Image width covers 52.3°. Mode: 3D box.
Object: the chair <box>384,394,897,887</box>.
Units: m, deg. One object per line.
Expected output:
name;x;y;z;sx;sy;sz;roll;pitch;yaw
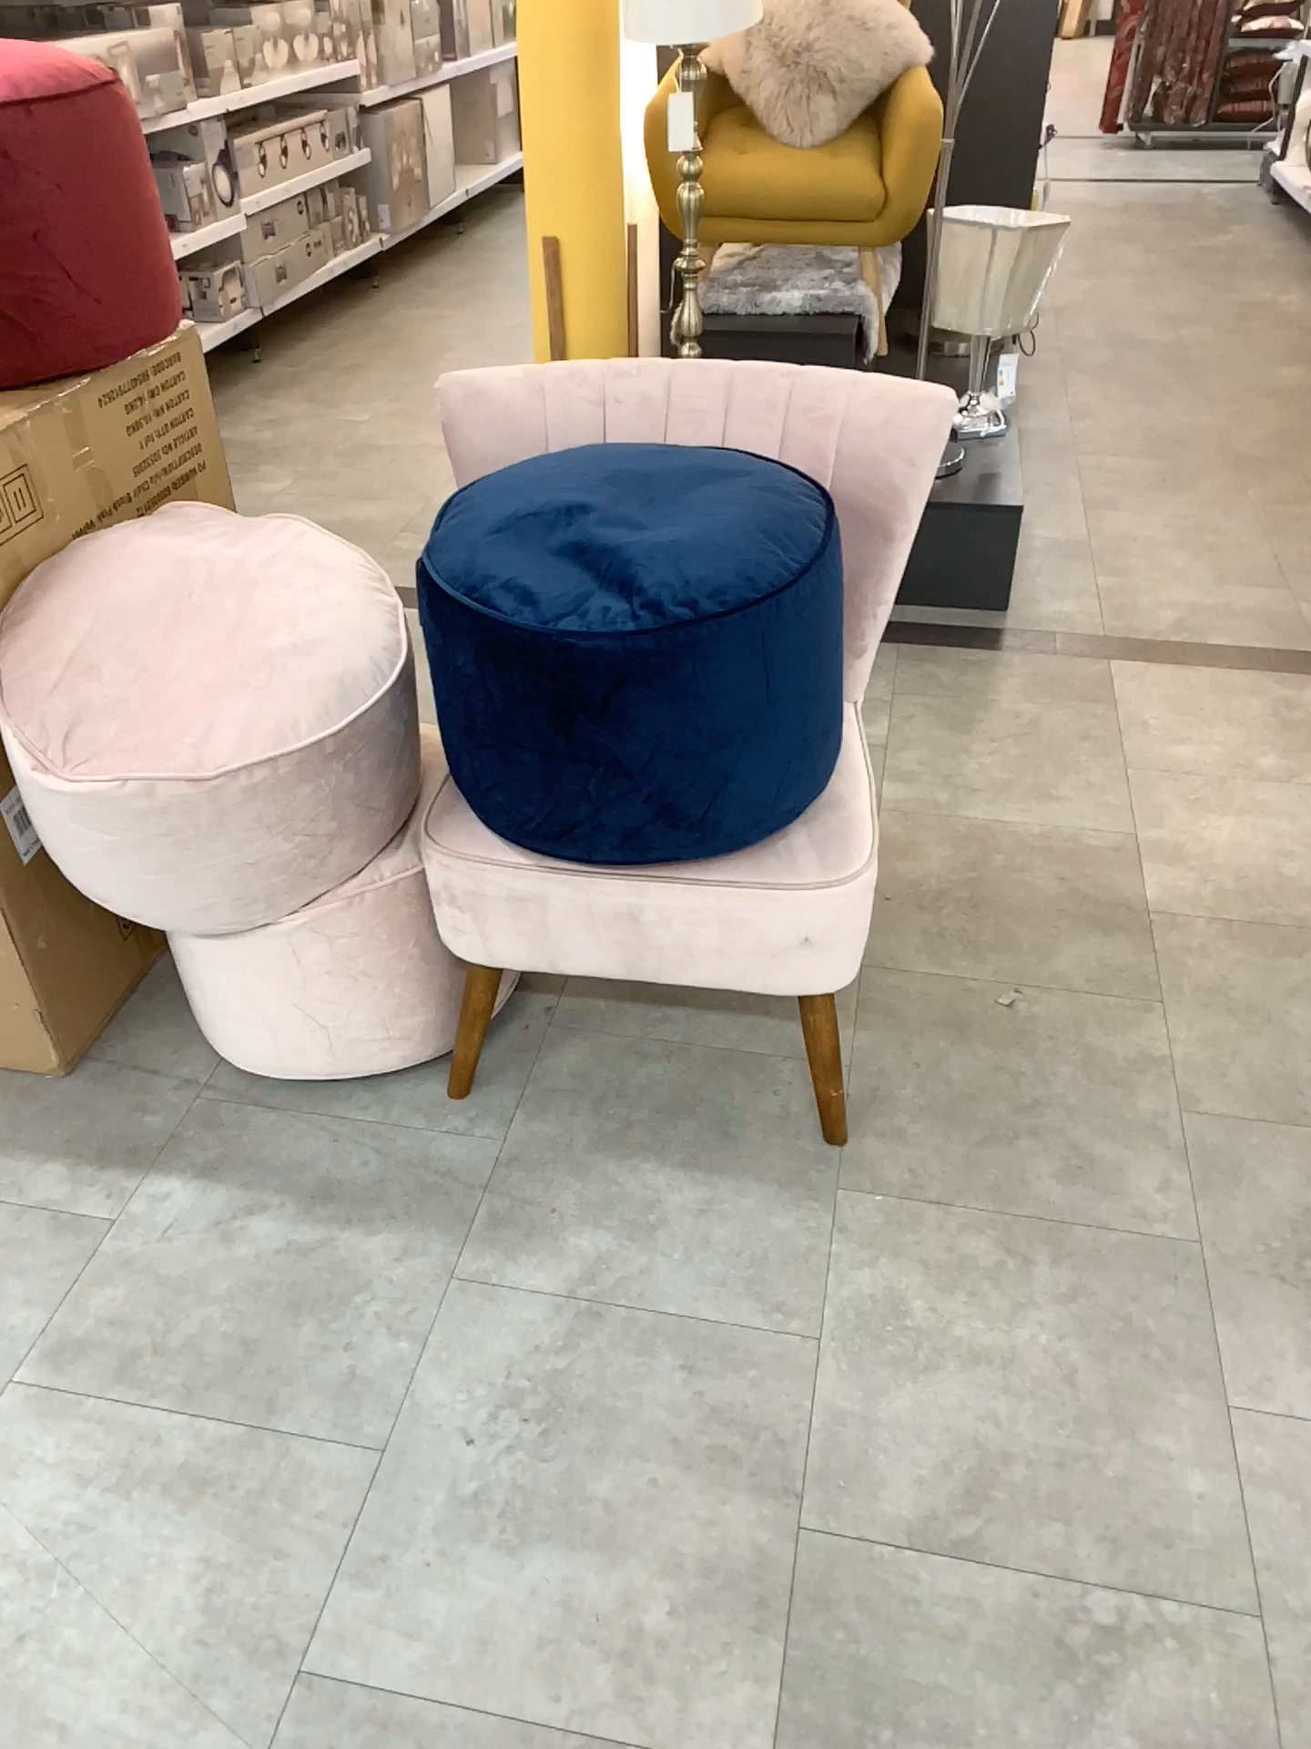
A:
chair;0.016;-0.308;1.607;0.475;0.363;0.509;7;36;11

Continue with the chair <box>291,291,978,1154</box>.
chair;0.038;-0.238;1.795;0.655;0.848;0.751;5;36;9
